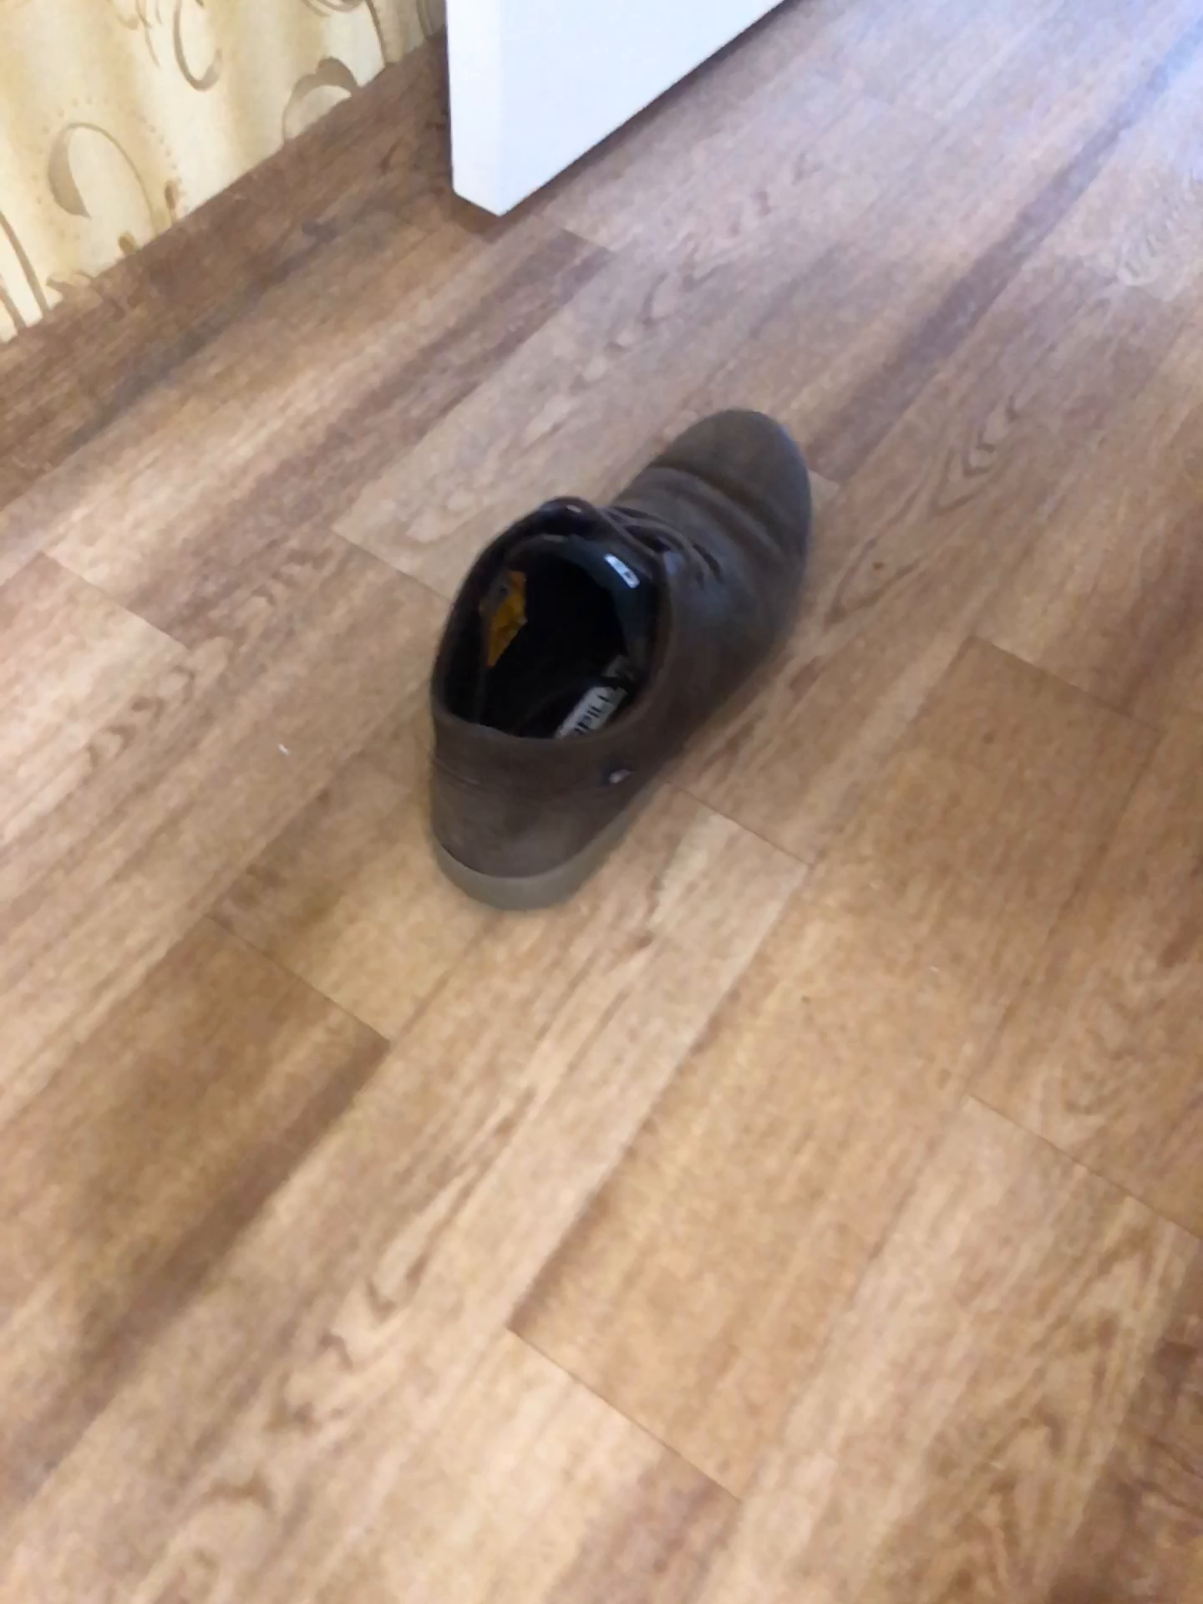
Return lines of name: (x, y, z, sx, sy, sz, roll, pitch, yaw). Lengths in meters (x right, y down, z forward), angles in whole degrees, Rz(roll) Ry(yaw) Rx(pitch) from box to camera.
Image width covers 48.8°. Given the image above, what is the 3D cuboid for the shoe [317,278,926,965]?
shoe: (0.016, -0.082, 0.544, 0.100, 0.100, 0.271, 31, 62, 14)
